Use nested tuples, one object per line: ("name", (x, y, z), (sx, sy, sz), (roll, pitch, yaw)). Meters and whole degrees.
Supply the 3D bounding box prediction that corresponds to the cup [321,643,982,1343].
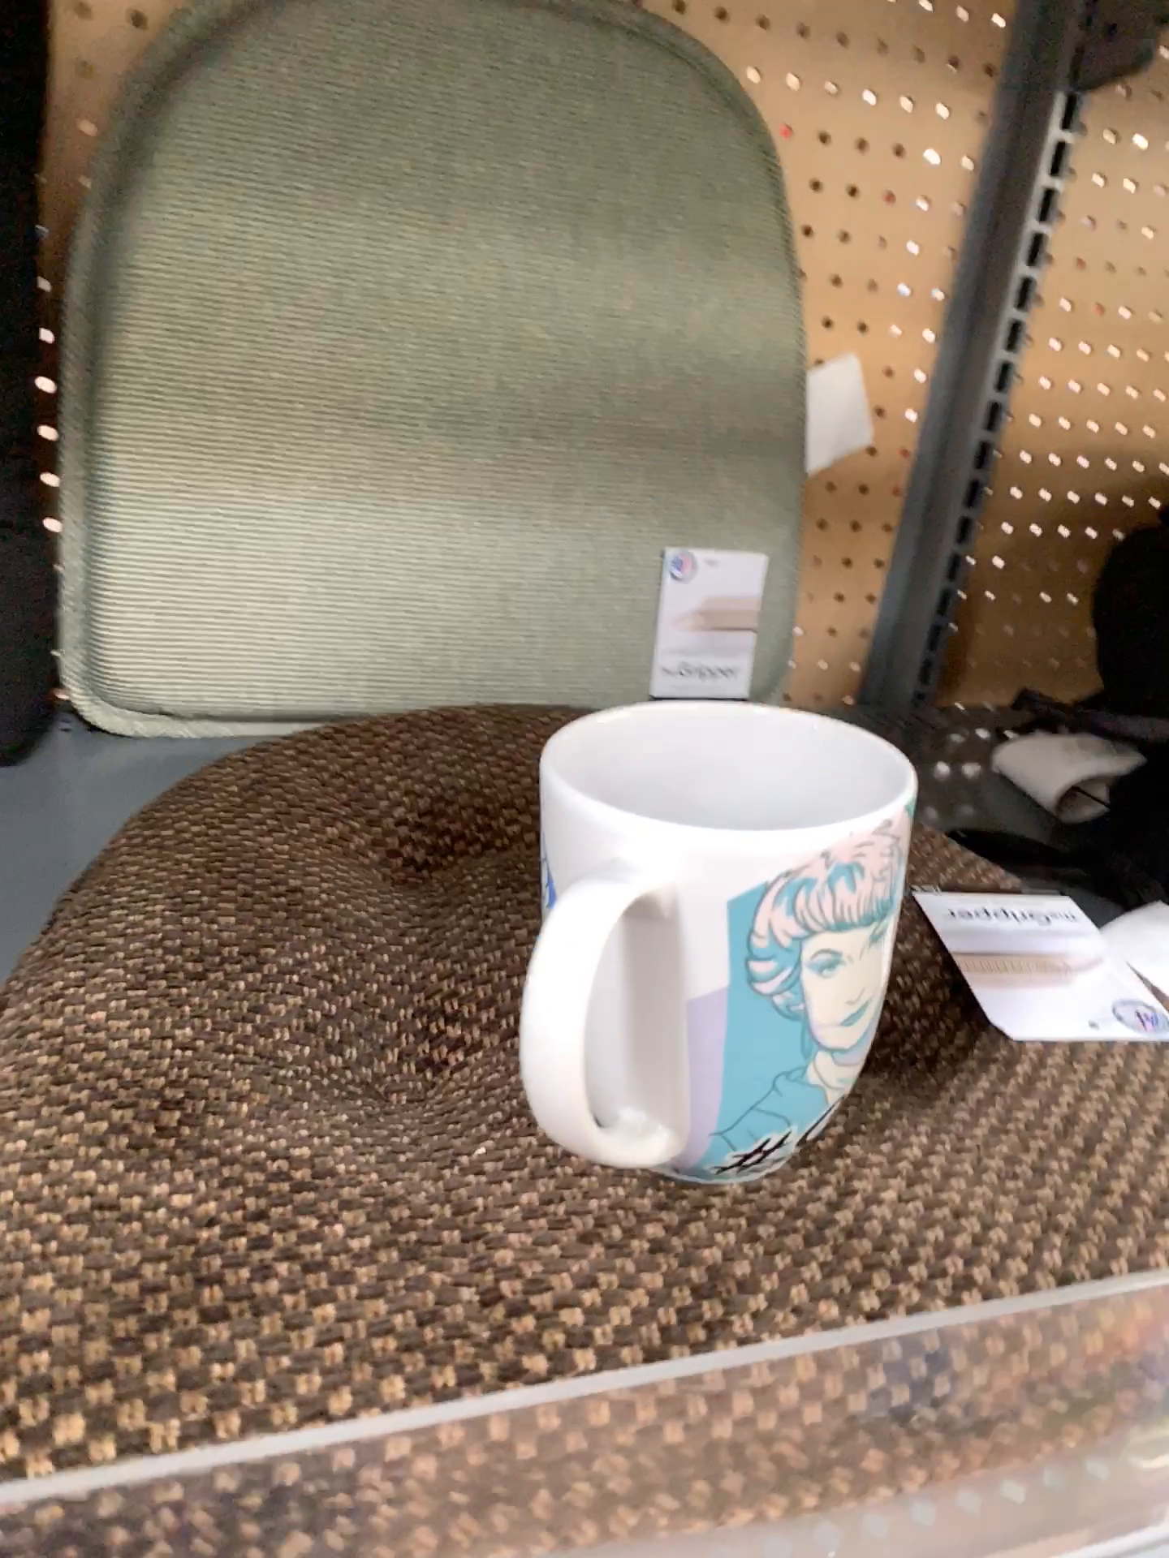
("cup", (0.016, 0.036, 0.291), (0.090, 0.100, 0.128), (22, 28, 36))
